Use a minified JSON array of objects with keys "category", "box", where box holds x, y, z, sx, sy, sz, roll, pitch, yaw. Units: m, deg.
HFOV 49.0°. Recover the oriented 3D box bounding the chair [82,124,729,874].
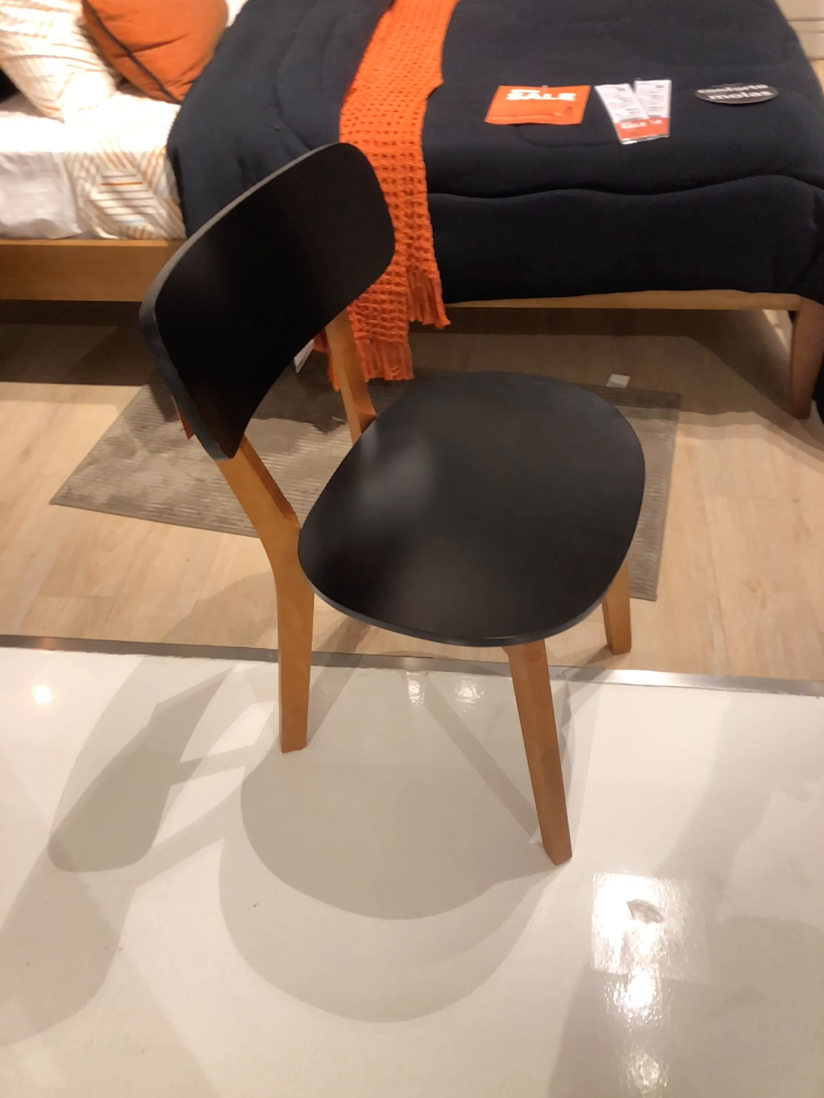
[{"category":"chair","box":[0.047,-0.048,1.098,0.480,0.705,0.463,12,48,17]}]
